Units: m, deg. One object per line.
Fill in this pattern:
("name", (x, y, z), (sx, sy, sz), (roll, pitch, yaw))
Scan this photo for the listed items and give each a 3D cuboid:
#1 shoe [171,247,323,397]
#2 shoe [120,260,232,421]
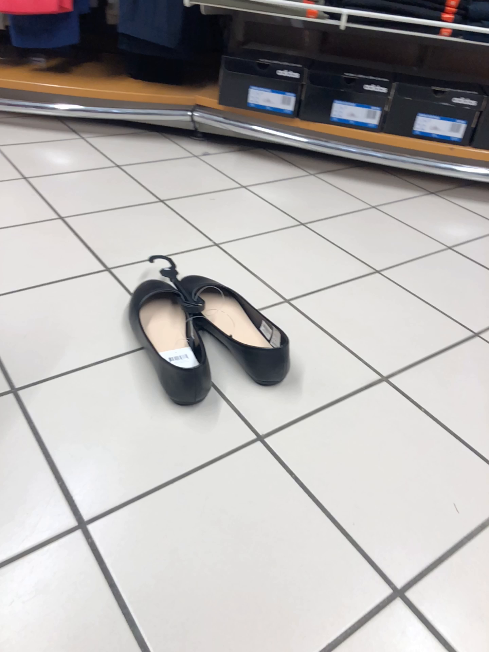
("shoe", (-0.008, -0.018, 0.720), (0.080, 0.060, 0.251), (-15, 41, -28))
("shoe", (-0.097, 0.005, 0.692), (0.080, 0.060, 0.251), (-7, 38, -20))
